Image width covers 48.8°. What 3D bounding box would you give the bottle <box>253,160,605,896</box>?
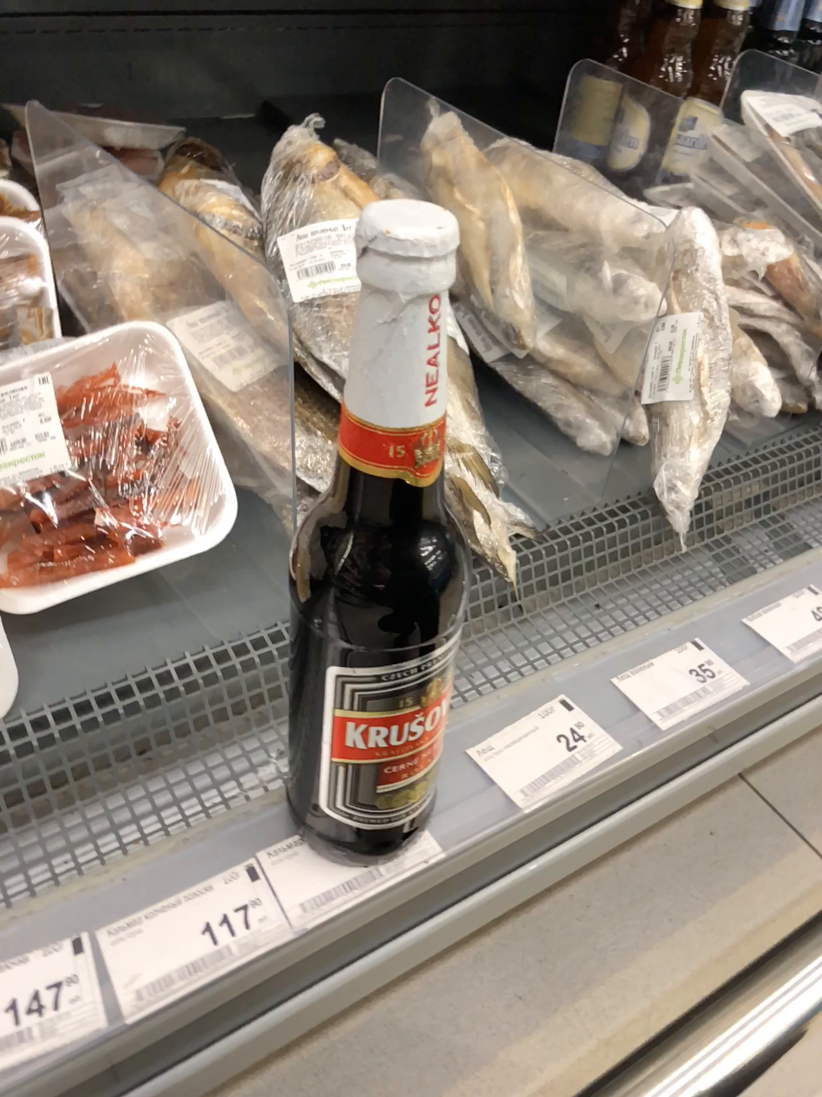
[{"bbox_3d":[-0.008,0.010,0.335,0.070,0.268,0.070,4,38,-3],"label":"bottle"}]
